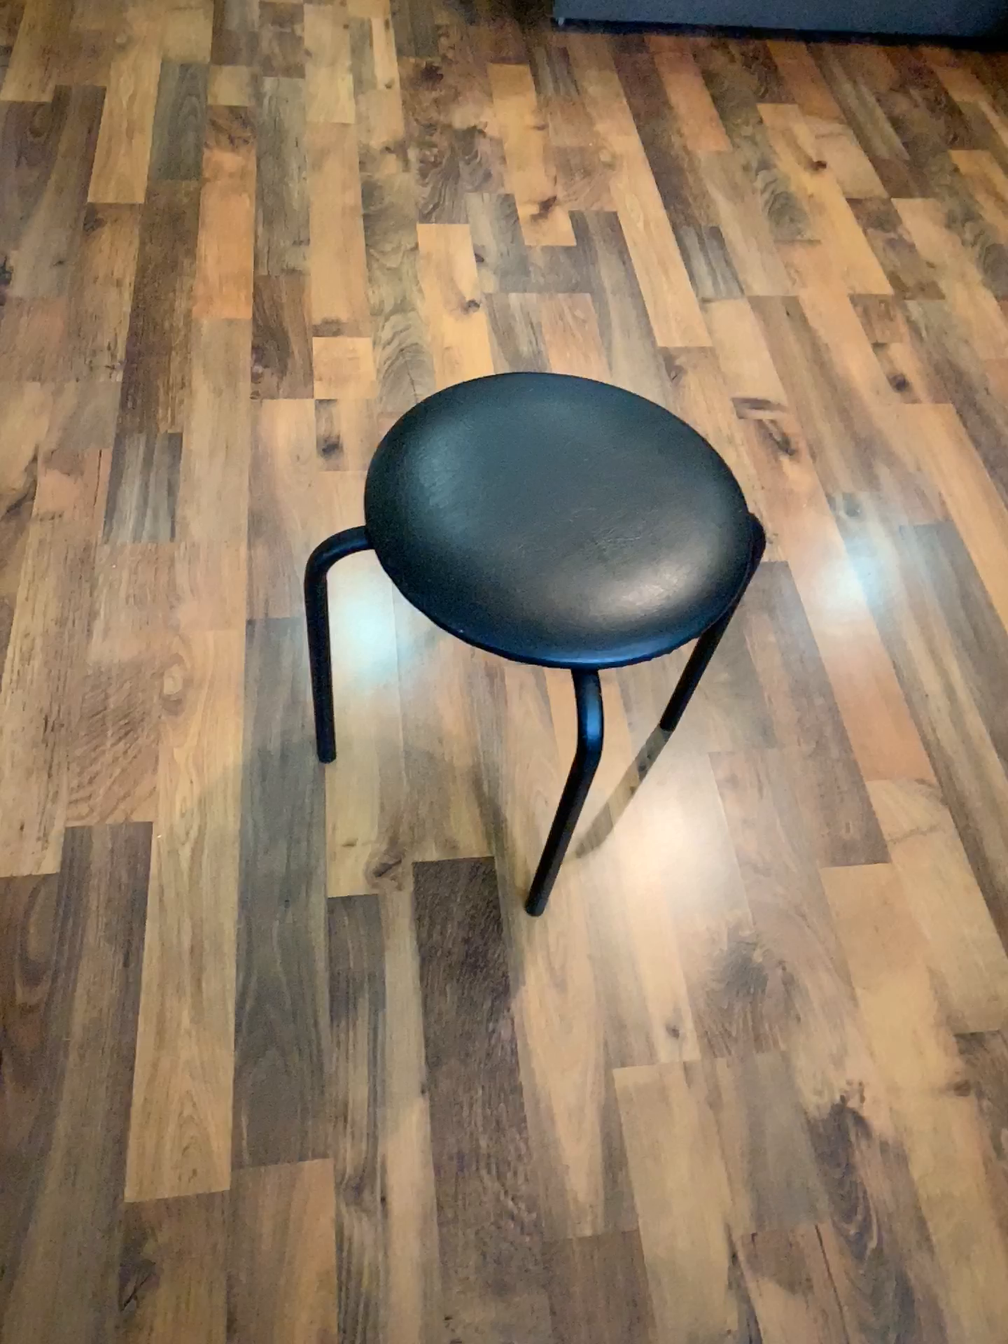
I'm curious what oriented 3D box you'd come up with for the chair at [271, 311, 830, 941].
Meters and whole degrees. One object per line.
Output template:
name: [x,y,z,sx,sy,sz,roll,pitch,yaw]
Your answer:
chair: [0.031,-0.033,1.046,0.351,0.427,0.332,33,59,16]
